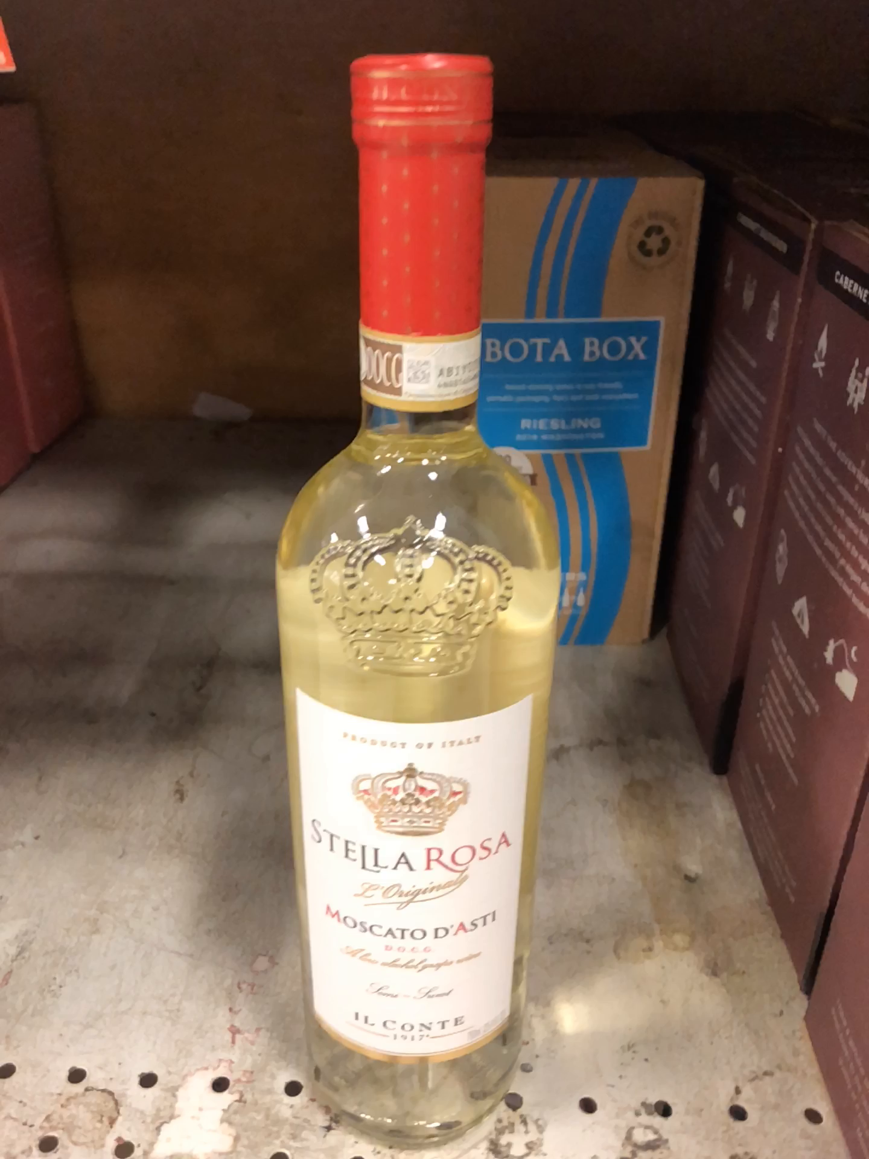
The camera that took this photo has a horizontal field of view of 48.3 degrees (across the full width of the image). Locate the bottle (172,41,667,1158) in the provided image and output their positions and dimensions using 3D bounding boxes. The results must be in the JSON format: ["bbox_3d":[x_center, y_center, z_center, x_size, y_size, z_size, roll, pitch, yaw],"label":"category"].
[{"bbox_3d":[-0.004,0.035,0.267,0.080,0.319,0.070,-1,30,-1],"label":"bottle"}]
